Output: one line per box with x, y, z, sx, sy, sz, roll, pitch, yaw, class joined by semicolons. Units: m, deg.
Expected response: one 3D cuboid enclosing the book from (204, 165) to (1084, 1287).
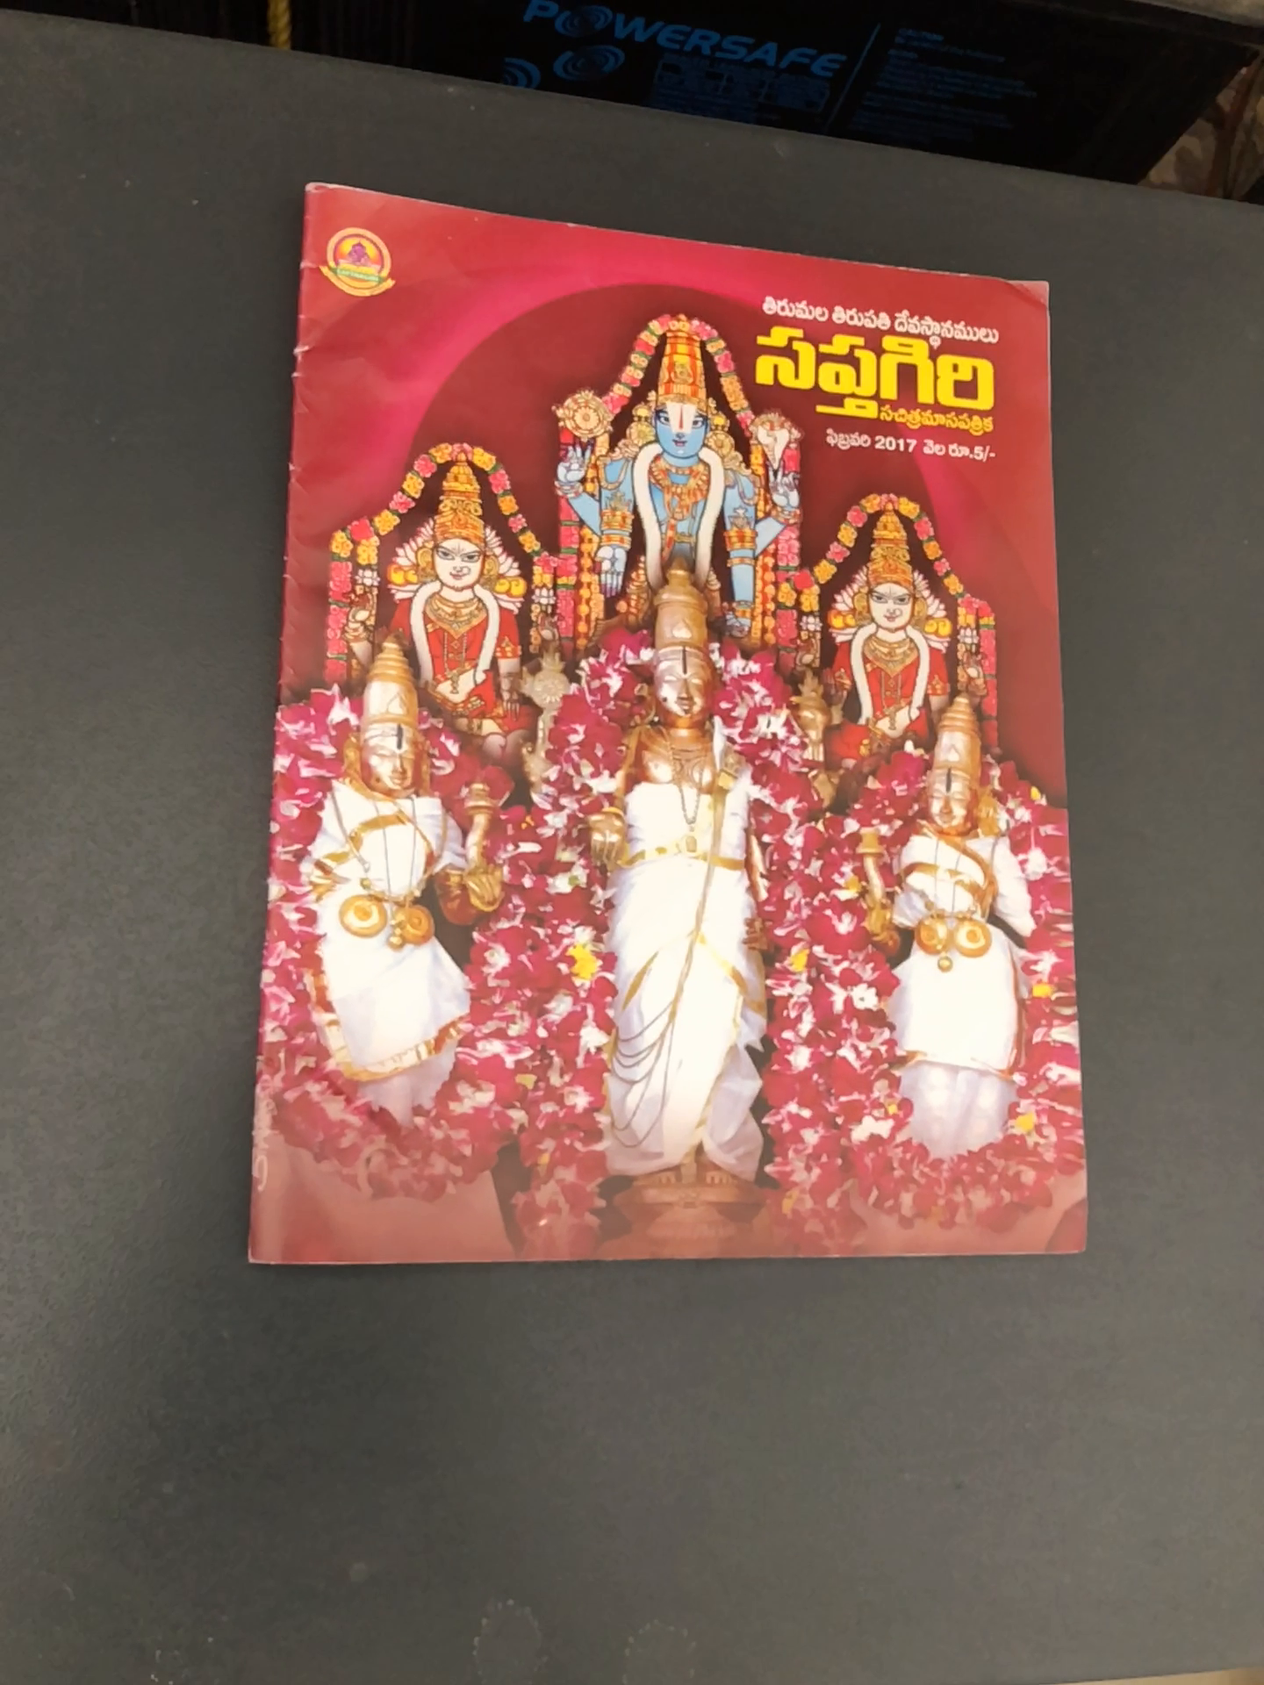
0.006;-0.029;0.350;0.200;0.030;0.260;2;80;-11;book
